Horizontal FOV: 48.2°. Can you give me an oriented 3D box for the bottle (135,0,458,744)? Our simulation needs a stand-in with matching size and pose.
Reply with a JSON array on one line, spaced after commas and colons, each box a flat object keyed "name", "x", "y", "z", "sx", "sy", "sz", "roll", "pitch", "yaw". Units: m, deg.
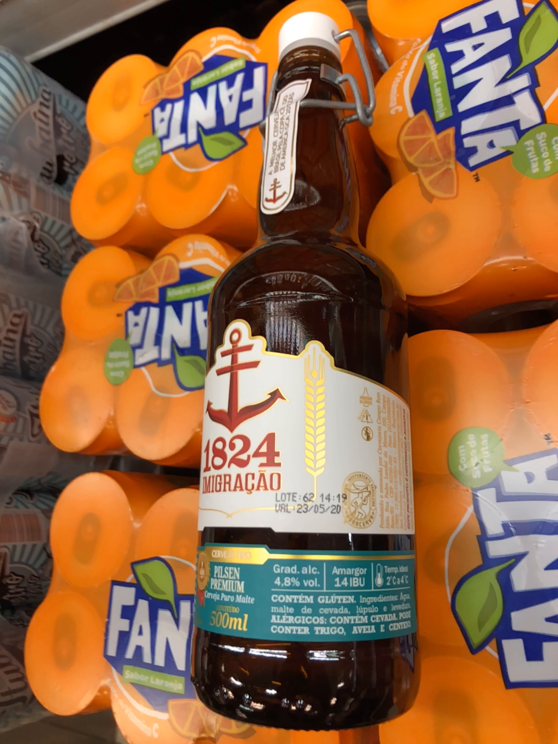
[{"name": "bottle", "x": 0.004, "y": -0.023, "z": 0.208, "sx": 0.080, "sy": 0.050, "sz": 0.250, "roll": -7, "pitch": 76, "yaw": 29}]
